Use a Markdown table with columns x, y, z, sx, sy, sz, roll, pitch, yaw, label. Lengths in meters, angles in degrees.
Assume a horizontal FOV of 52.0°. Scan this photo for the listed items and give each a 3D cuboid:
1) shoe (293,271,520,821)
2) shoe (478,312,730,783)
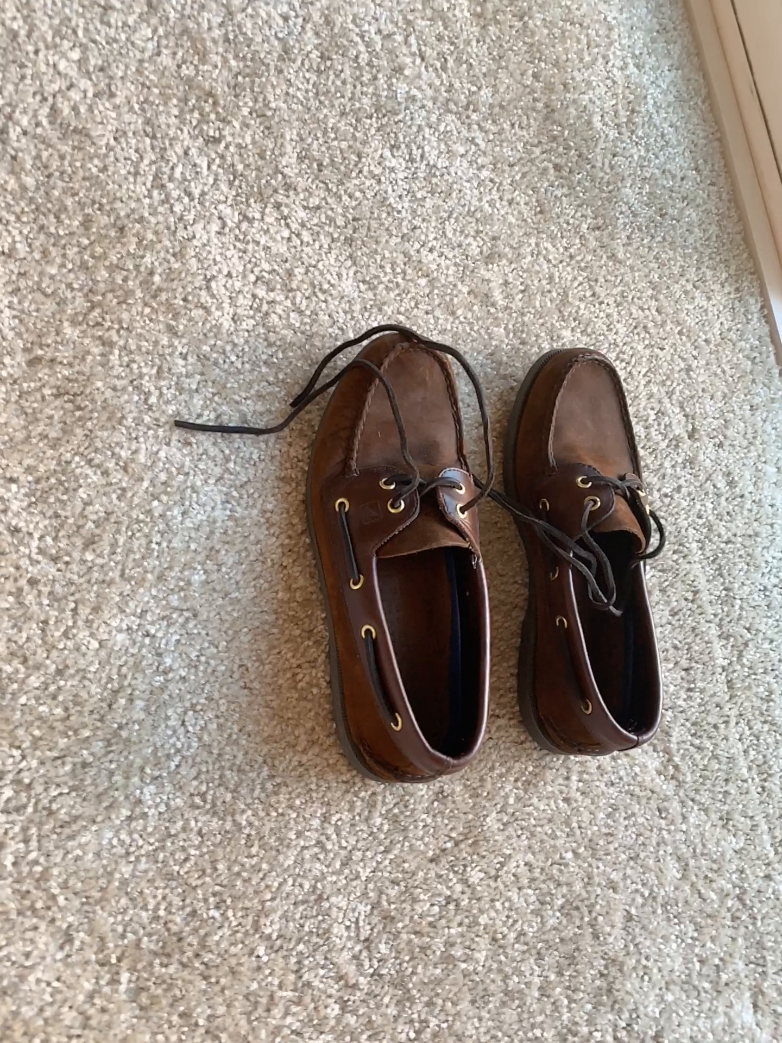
| x | y | z | sx | sy | sz | roll | pitch | yaw | label |
| --- | --- | --- | --- | --- | --- | --- | --- | --- | --- |
| 0.003 | 0.014 | 0.527 | 0.100 | 0.100 | 0.320 | 1 | 80 | -24 | shoe |
| 0.145 | 0.019 | 0.574 | 0.110 | 0.100 | 0.300 | 1 | 80 | -24 | shoe |
